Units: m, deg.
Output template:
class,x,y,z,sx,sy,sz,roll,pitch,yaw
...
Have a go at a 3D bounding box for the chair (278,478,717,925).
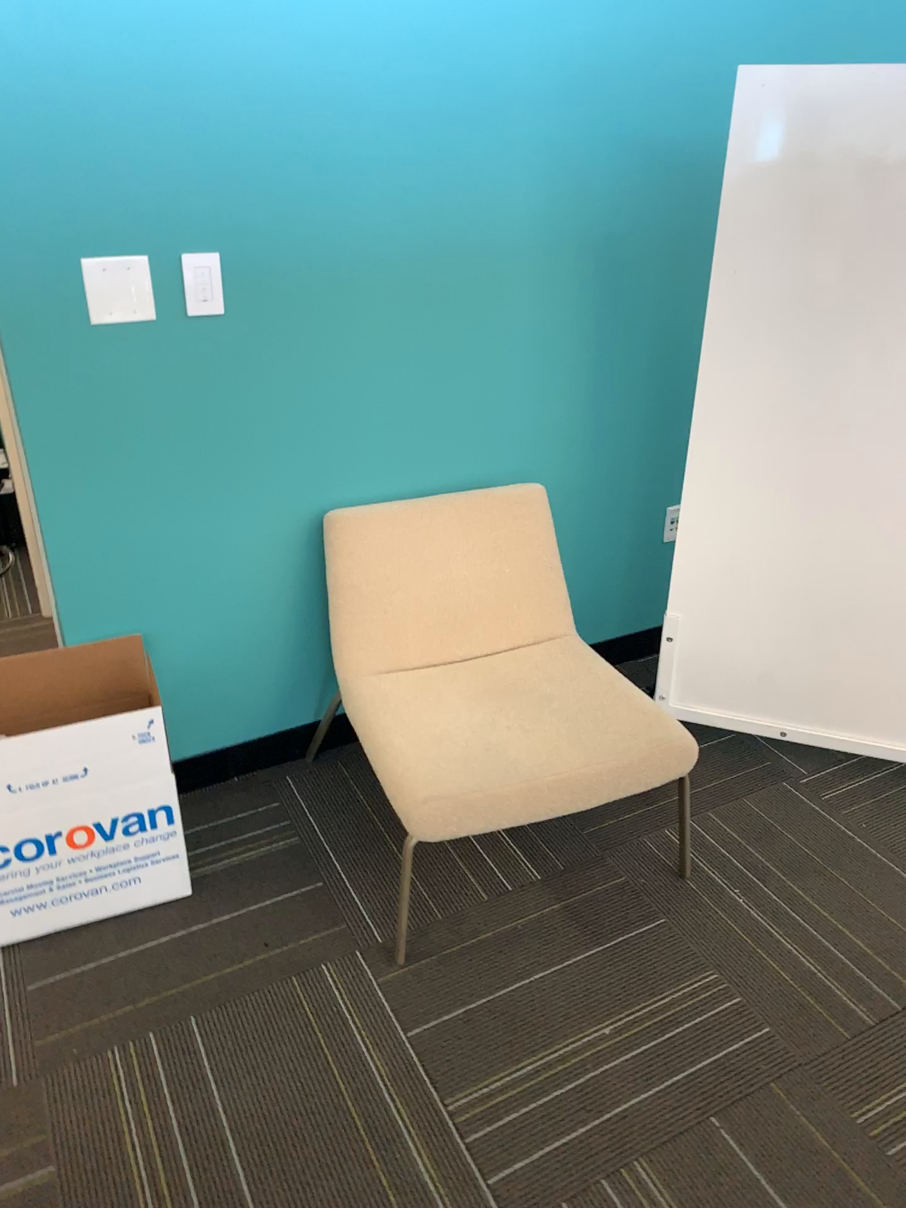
class,x,y,z,sx,sy,sz,roll,pitch,yaw
chair,0.047,0.144,2.036,0.660,0.567,0.734,-10,29,-20
